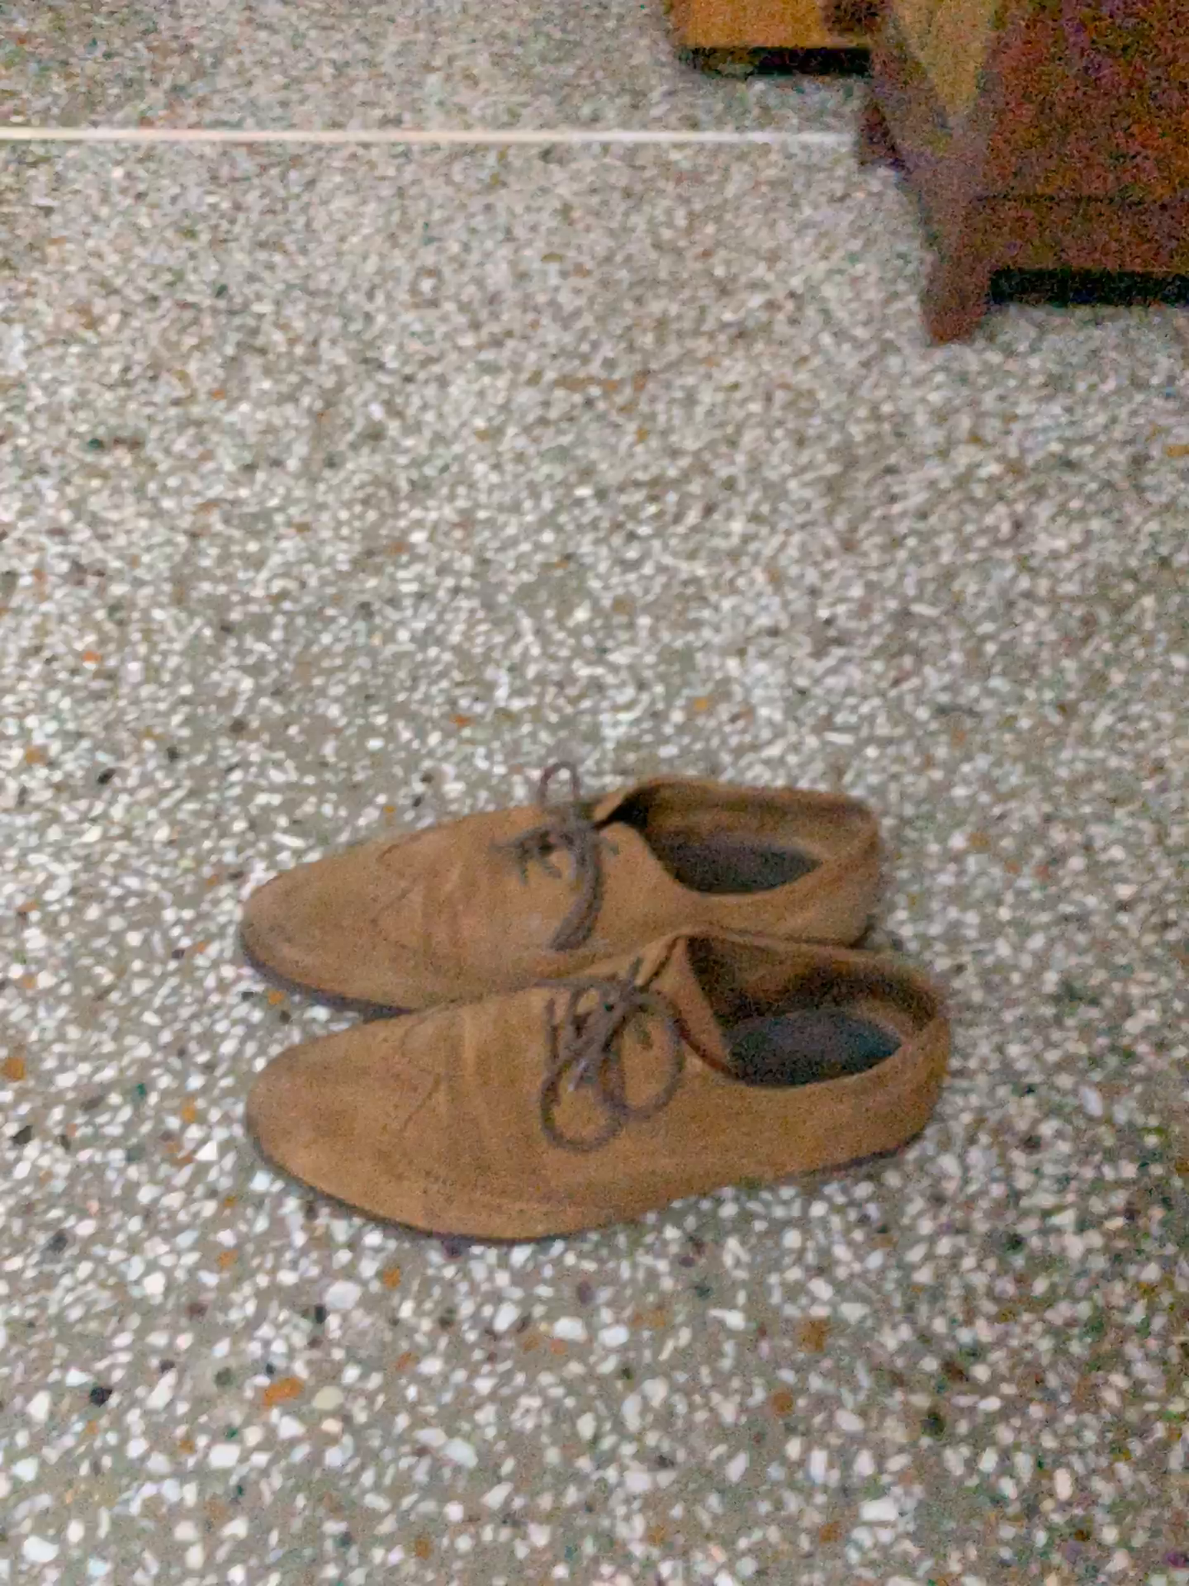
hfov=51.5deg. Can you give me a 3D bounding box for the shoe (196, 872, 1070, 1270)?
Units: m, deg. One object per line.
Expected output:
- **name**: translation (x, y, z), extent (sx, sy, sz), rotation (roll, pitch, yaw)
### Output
- **shoe**: translation (0.011, 0.115, 0.507), extent (0.310, 0.110, 0.100), rotation (-4, 54, -5)

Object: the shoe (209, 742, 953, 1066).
- **shoe**: translation (-0.008, 0.053, 0.586), extent (0.310, 0.110, 0.100), rotation (-2, 54, -3)
